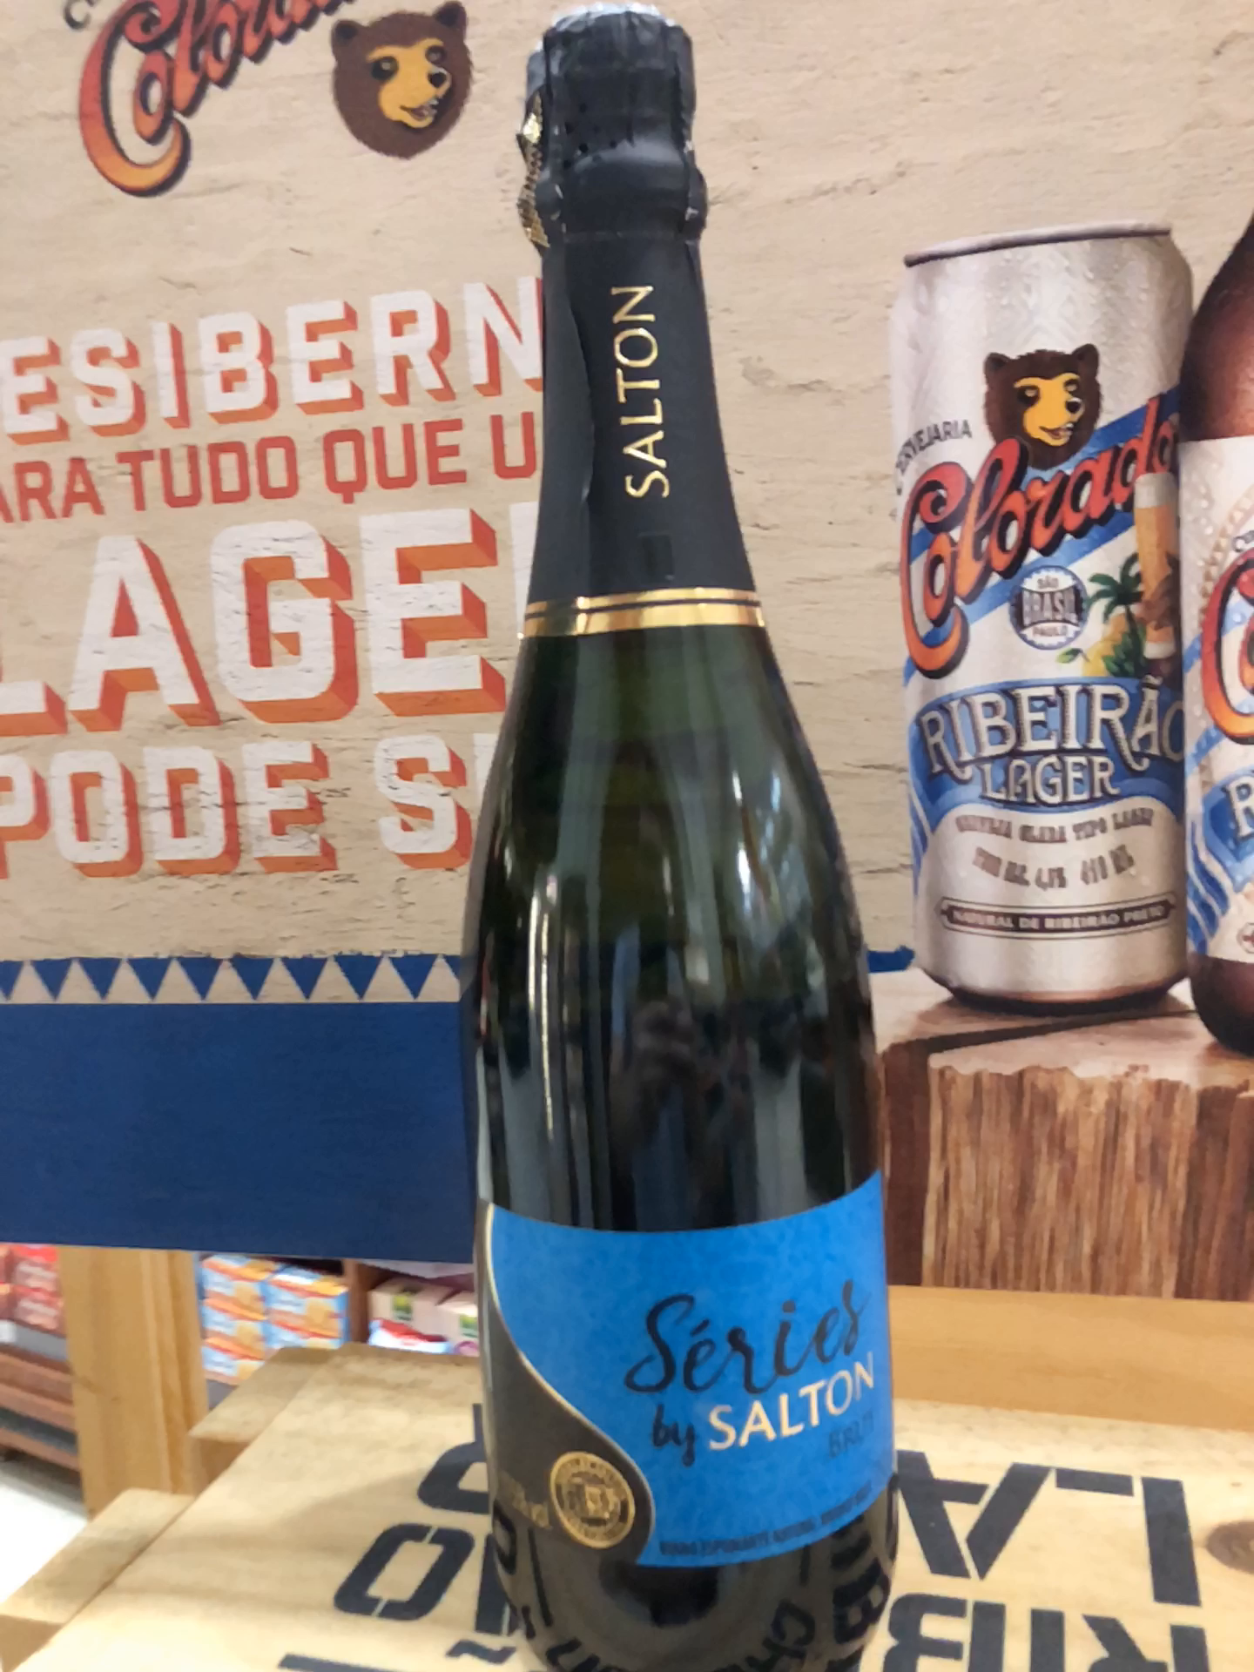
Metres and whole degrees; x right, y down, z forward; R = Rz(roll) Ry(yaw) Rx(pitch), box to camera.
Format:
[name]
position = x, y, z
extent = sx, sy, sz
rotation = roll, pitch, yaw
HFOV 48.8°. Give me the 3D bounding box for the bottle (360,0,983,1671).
[bottle]
position = 0.005, -0.004, 0.270
extent = 0.090, 0.320, 0.080
rotation = -4, 4, -13
